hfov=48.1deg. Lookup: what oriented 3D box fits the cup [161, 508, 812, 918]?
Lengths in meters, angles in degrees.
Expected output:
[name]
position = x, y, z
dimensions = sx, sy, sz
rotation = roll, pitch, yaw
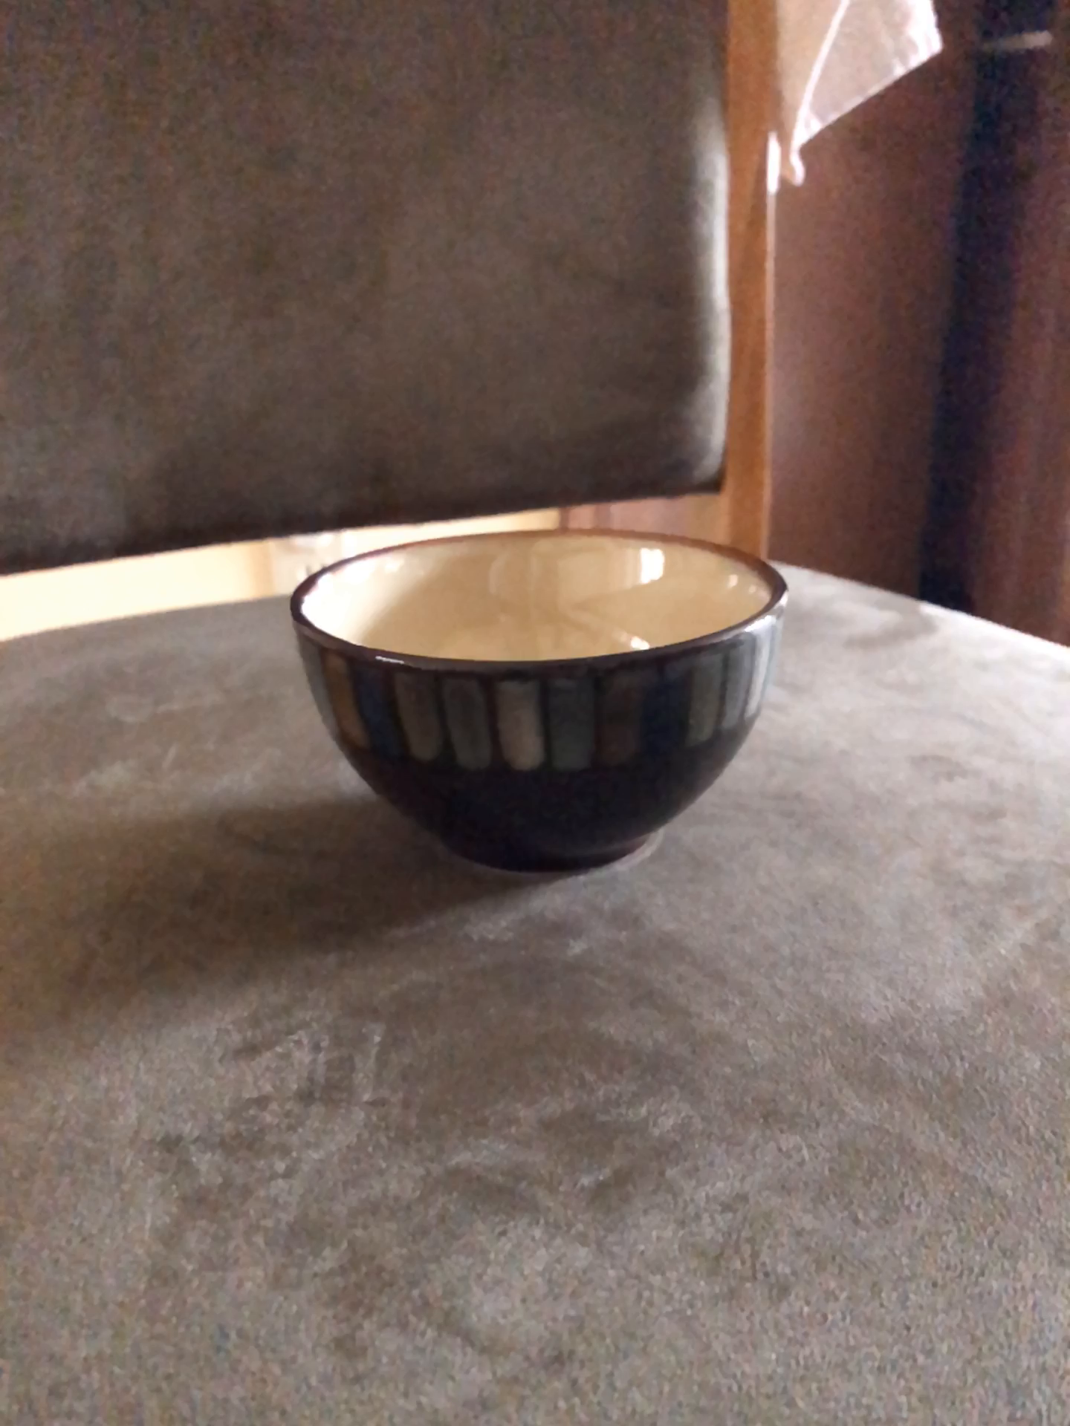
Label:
[cup]
position = -0.002, -0.009, 0.273
dimensions = 0.114, 0.044, 0.109
rotation = -1, 23, 0
